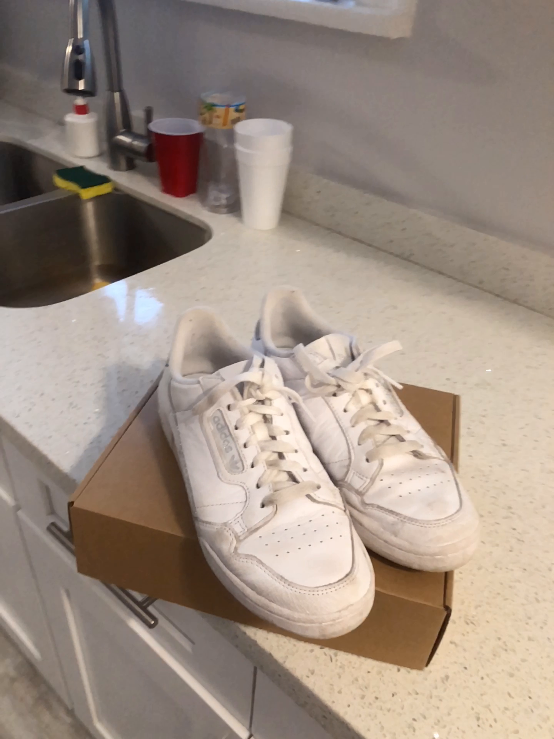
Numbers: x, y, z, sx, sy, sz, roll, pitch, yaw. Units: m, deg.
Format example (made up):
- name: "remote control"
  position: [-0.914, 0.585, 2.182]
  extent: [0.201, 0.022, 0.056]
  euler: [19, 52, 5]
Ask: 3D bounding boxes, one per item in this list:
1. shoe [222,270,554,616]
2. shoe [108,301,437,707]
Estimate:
- name: "shoe"
  position: [0.061, 0.033, 0.480]
  extent: [0.107, 0.100, 0.269]
  euler: [-15, 40, -24]
- name: "shoe"
  position: [-0.025, 0.067, 0.436]
  extent: [0.107, 0.100, 0.269]
  euler: [-15, 40, -24]
